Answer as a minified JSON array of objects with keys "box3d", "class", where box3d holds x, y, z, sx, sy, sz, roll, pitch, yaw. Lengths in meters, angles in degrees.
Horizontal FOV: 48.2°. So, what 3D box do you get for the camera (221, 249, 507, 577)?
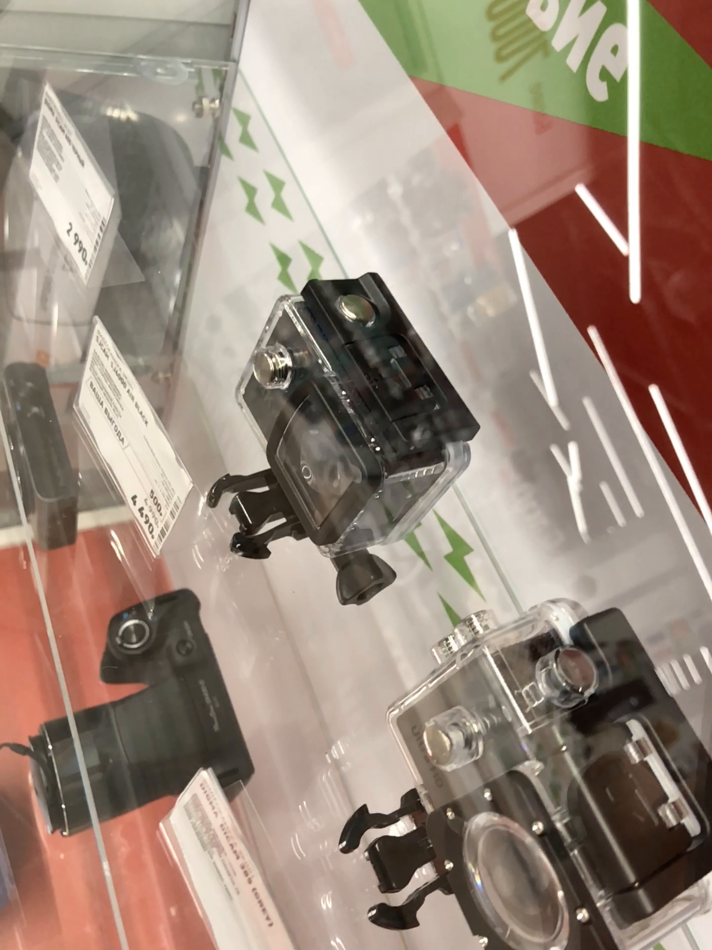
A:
[{"box3d":[-0.002,-0.019,0.234,0.033,0.055,0.074,-14,62,-37],"class":"camera"}]
